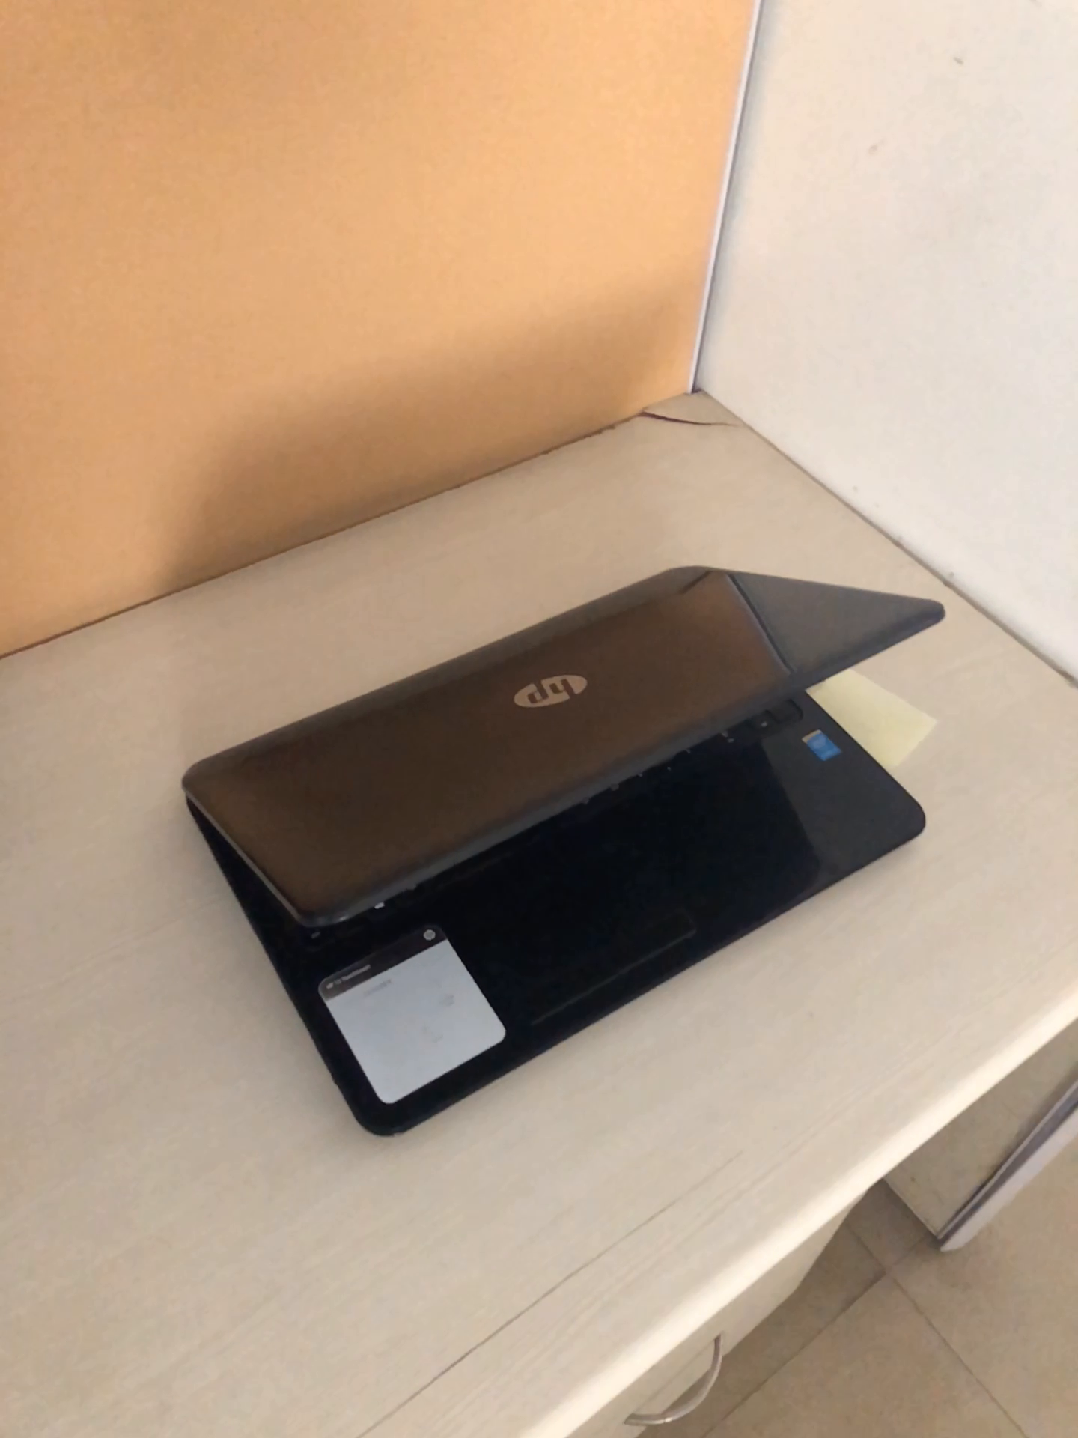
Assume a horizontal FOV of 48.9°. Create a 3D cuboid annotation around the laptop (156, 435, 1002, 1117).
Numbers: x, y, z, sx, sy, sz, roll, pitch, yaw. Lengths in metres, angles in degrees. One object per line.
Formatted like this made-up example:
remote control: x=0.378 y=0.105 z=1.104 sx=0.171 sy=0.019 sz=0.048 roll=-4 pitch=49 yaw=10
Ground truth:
laptop: x=0.018 y=0.009 z=0.641 sx=0.353 sy=0.131 sz=0.224 roll=-23 pitch=54 yaw=-22
